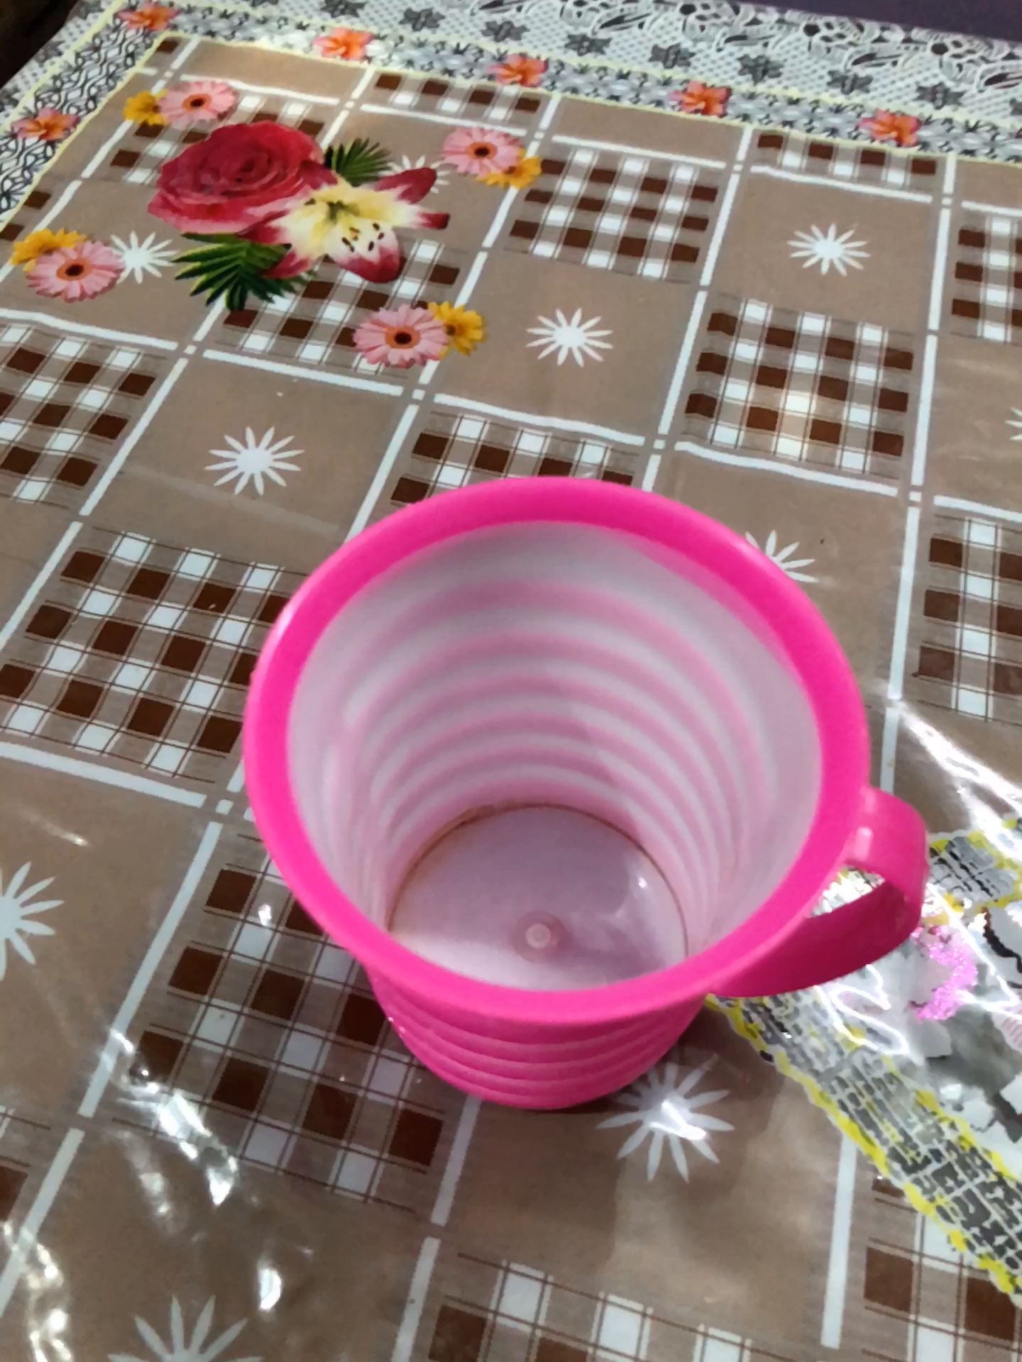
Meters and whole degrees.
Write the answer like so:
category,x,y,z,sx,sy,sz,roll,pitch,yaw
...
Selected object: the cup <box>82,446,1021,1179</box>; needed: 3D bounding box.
category,x,y,z,sx,sy,sz,roll,pitch,yaw
cup,0.009,0.026,0.183,0.110,0.090,0.080,3,56,1
